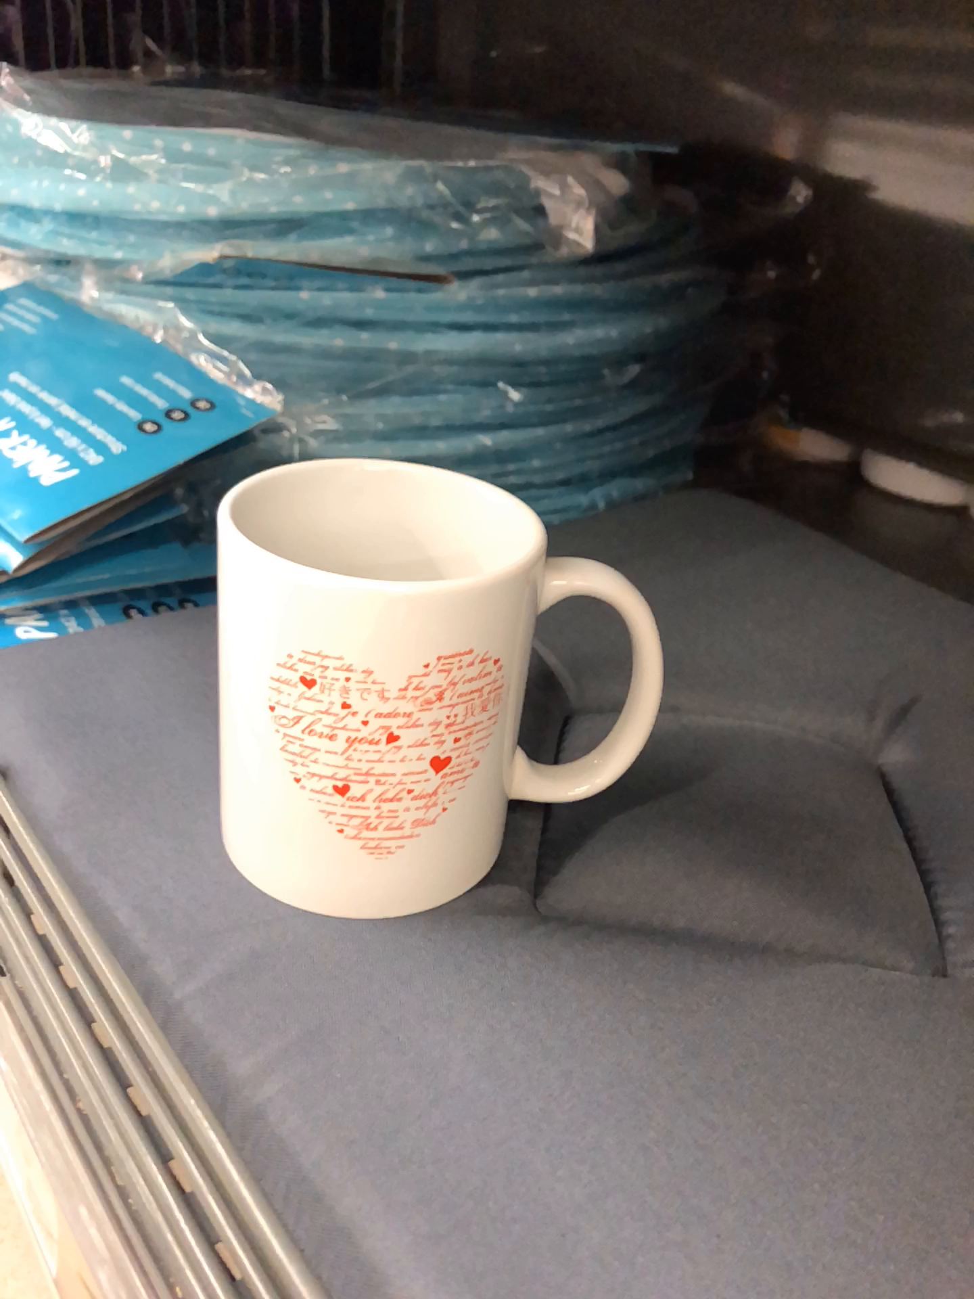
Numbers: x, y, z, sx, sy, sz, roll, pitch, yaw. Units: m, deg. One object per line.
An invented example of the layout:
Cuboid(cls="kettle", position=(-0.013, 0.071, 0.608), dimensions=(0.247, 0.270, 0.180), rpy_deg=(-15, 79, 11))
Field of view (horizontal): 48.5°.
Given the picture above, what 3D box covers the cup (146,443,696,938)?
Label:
Cuboid(cls="cup", position=(-0.022, 0.008, 0.298), dimensions=(0.120, 0.099, 0.090), rpy_deg=(1, 28, -9))
